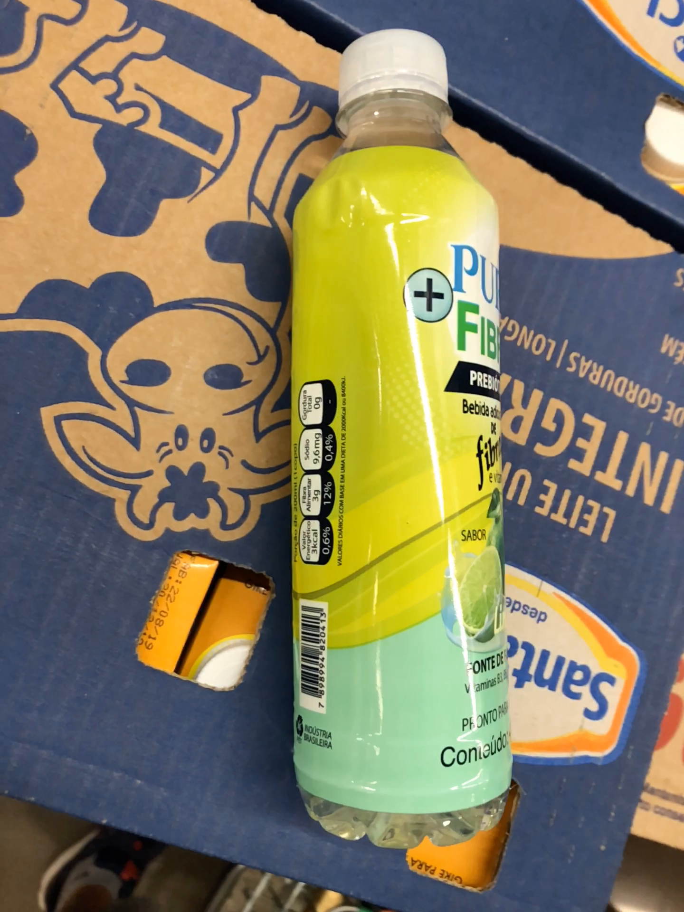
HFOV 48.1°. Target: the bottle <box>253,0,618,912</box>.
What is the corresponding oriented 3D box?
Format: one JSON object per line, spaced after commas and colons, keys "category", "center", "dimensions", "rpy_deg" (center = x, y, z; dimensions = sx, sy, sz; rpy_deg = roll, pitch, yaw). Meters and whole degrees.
{"category": "bottle", "center": [0.017, -0.024, 0.209], "dimensions": [0.070, 0.060, 0.250], "rpy_deg": [1, 81, -17]}
